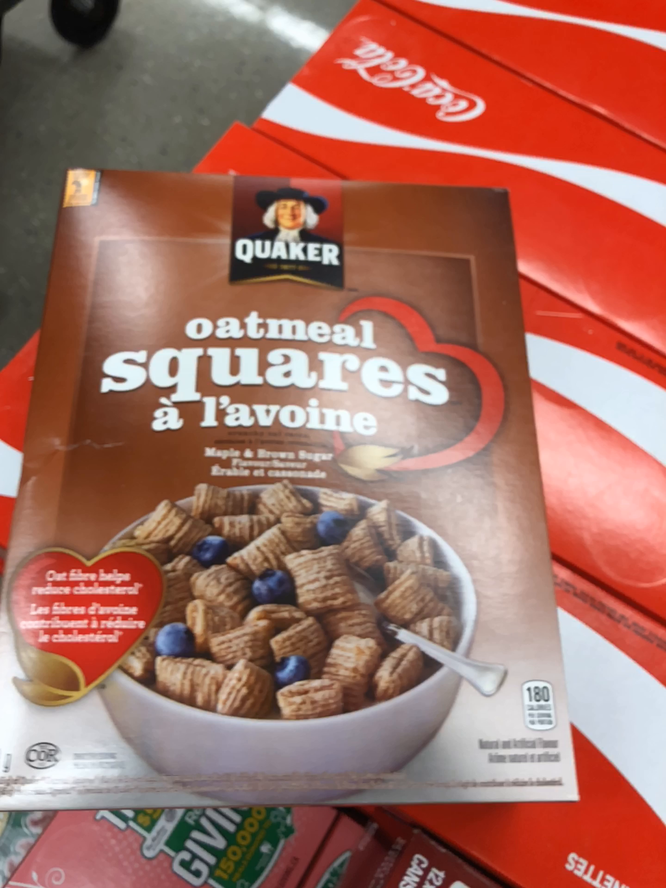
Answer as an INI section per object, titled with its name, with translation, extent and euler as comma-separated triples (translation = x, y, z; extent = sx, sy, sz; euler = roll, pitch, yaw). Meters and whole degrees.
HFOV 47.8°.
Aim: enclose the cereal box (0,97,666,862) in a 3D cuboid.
[cereal box]
translation = -0.017, -0.002, 0.305
extent = 0.240, 0.050, 0.290
euler = 1, 69, -5
